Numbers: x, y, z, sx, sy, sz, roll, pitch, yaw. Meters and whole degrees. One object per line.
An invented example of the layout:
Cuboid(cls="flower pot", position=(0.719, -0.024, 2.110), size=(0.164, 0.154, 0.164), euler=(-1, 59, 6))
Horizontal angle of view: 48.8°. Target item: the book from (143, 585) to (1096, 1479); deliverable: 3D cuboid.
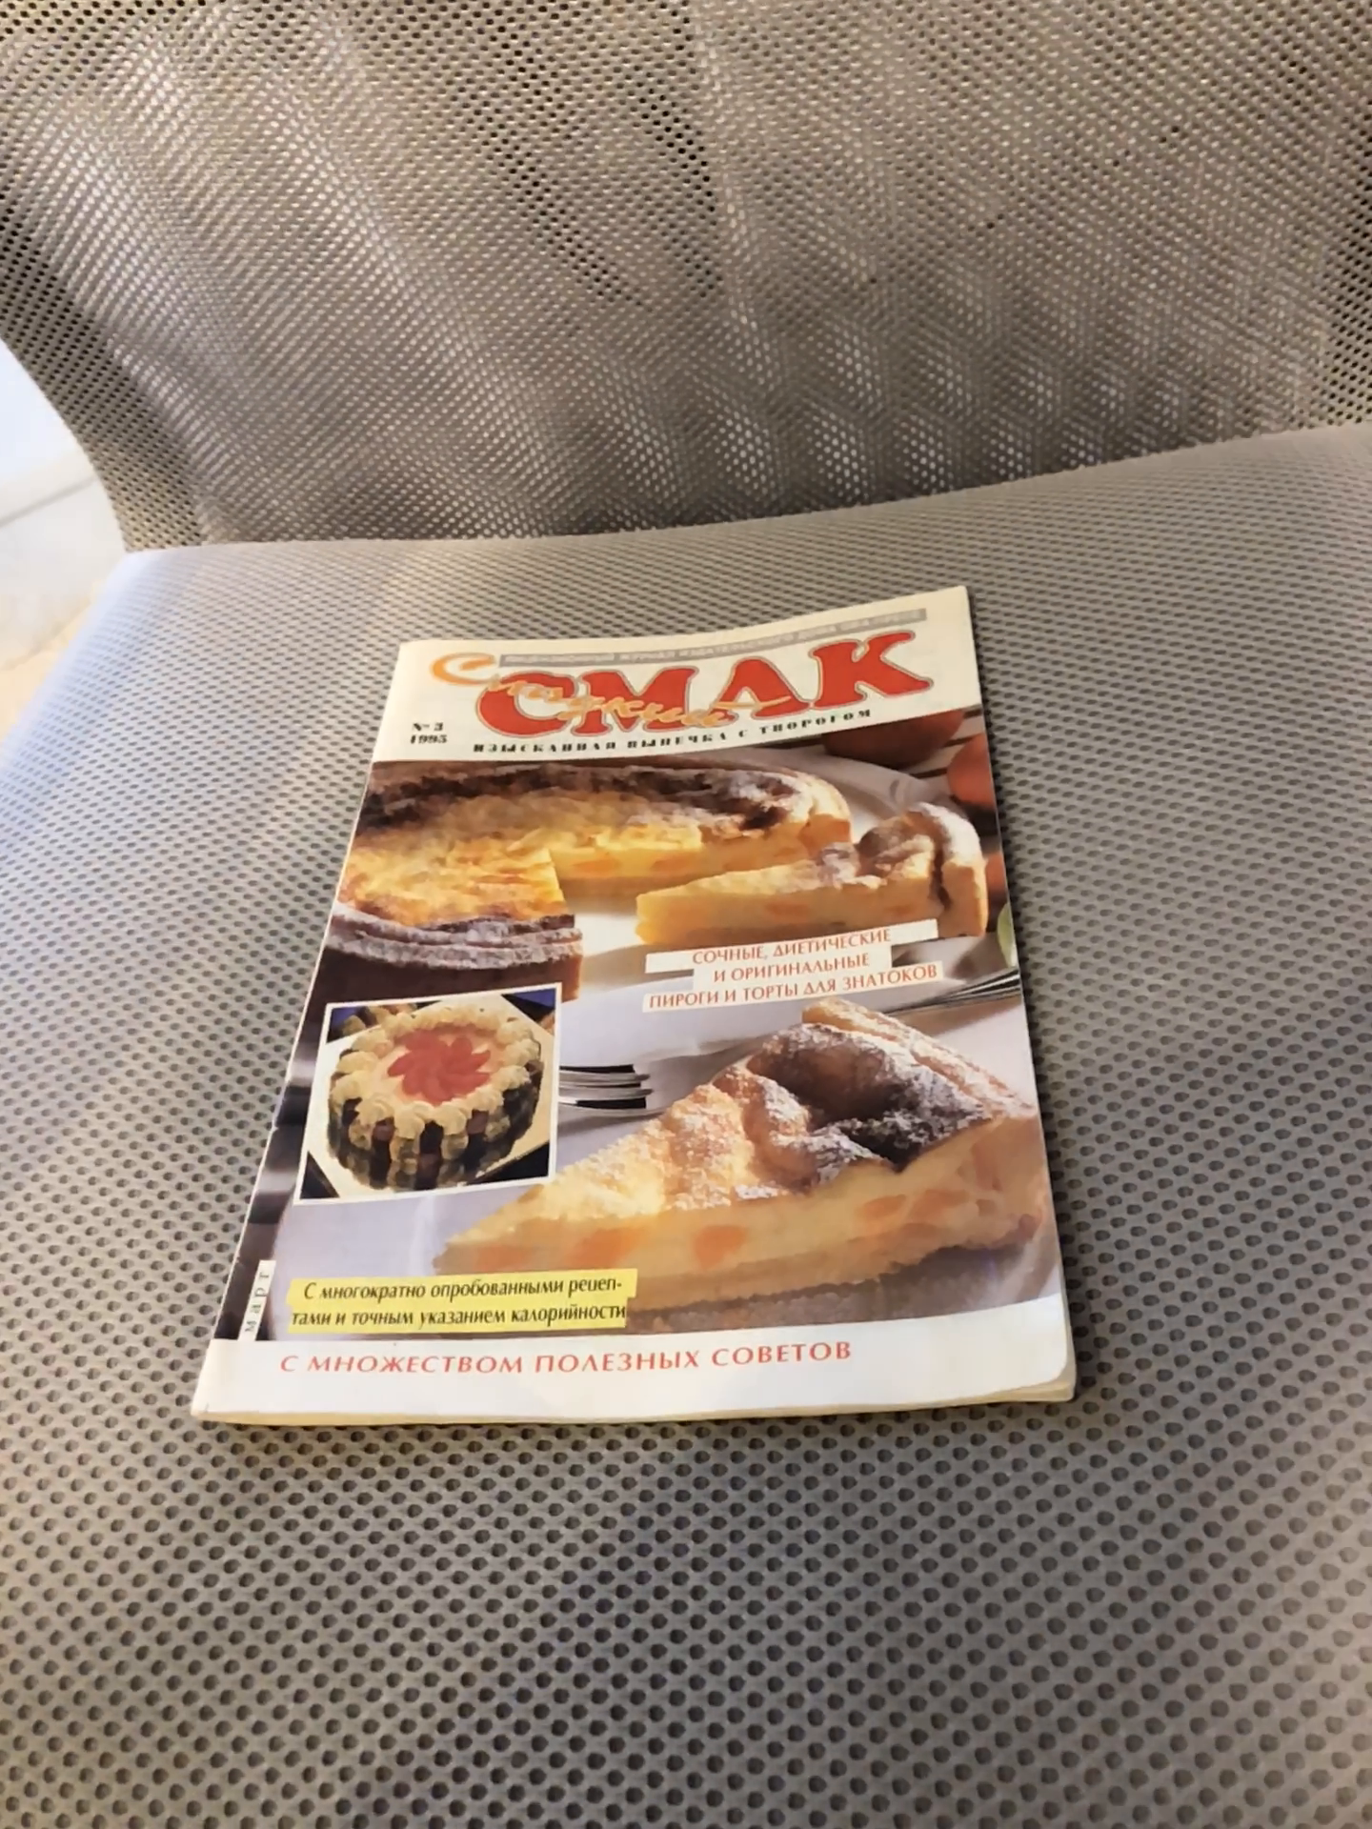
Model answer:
Cuboid(cls="book", position=(-0.011, 0.010, 0.349), size=(0.174, 0.010, 0.232), euler=(-5, 48, 9))
